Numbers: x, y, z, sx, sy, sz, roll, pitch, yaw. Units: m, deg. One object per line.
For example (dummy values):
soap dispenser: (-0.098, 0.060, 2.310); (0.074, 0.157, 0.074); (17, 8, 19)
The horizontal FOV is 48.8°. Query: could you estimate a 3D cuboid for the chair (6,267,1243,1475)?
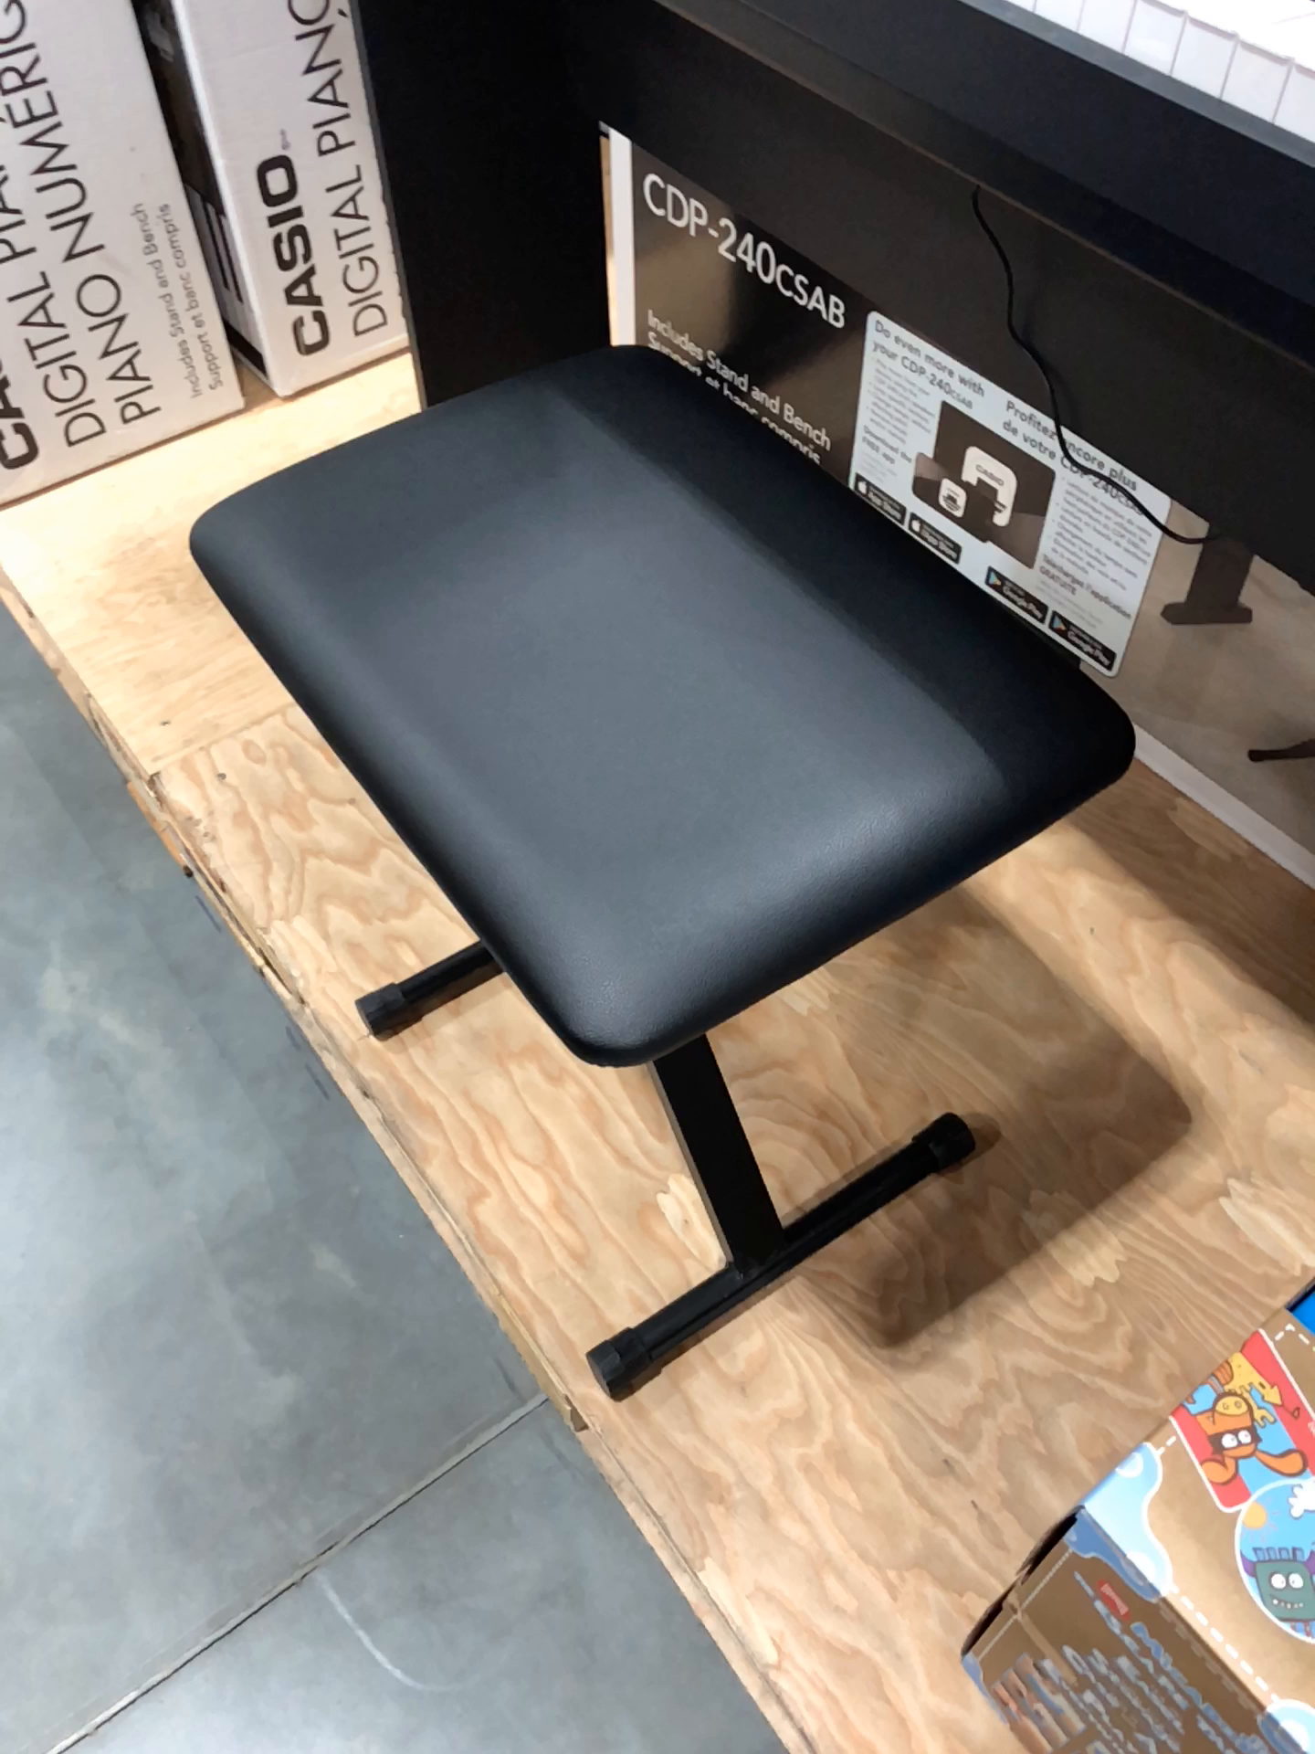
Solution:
chair: (-0.043, -0.040, 0.799); (0.370, 0.279, 0.511); (-29, 56, -20)
